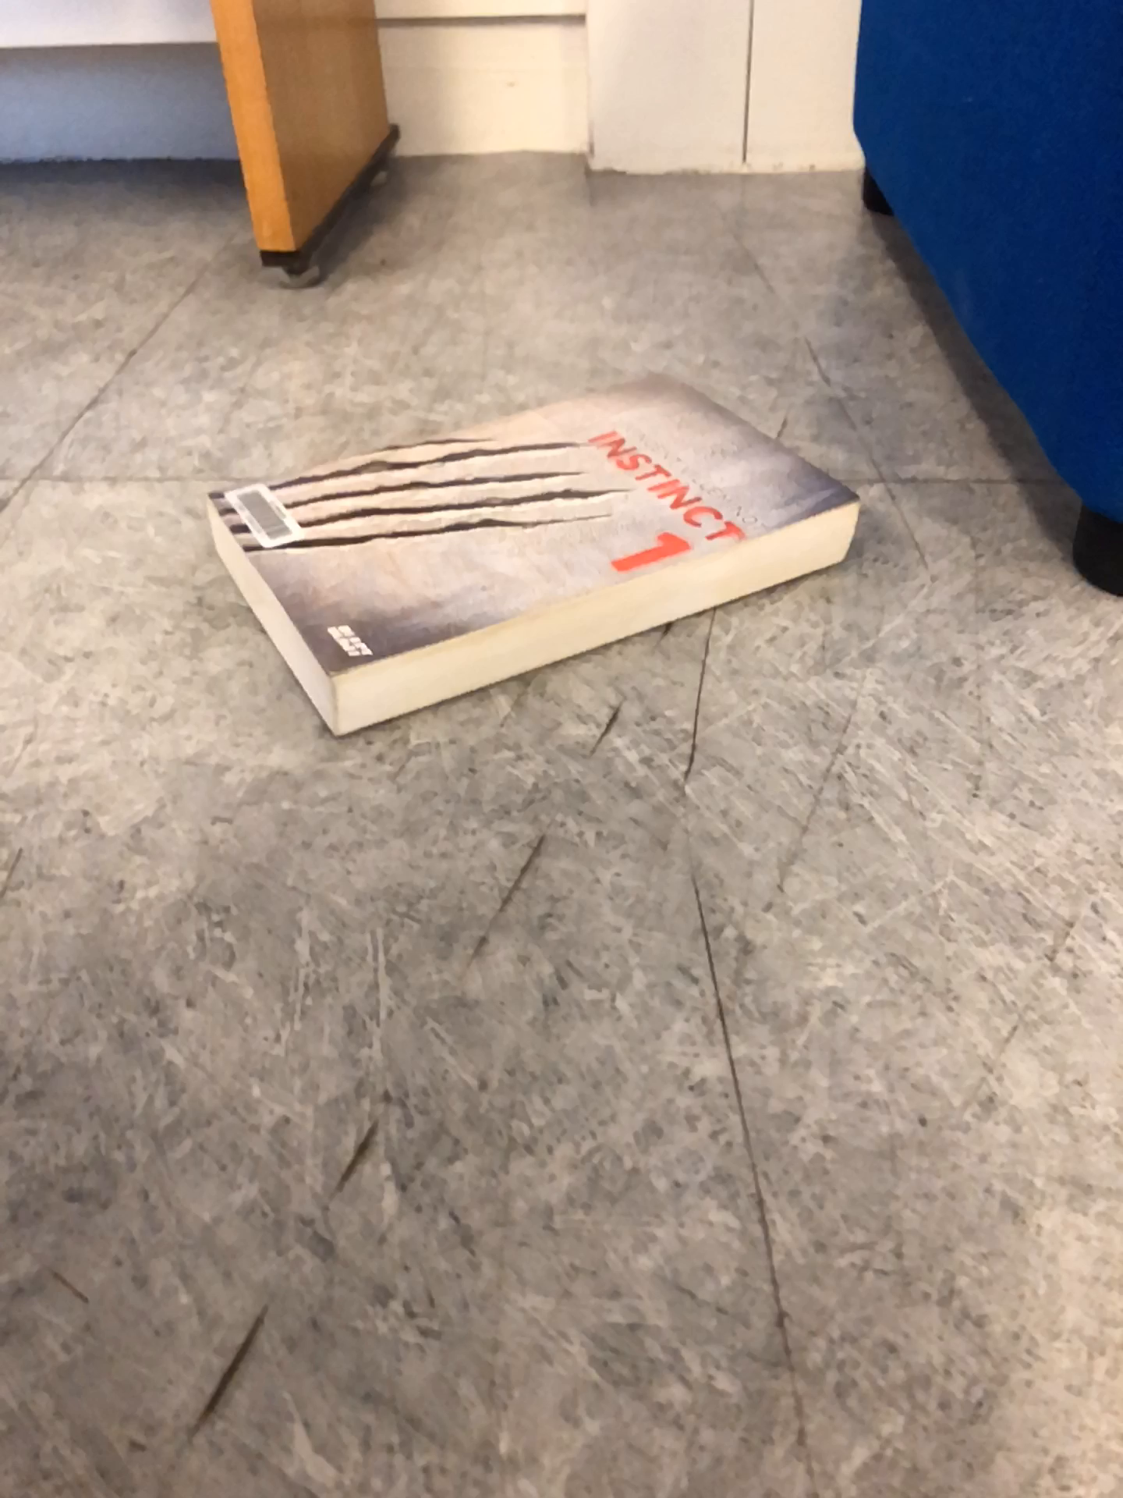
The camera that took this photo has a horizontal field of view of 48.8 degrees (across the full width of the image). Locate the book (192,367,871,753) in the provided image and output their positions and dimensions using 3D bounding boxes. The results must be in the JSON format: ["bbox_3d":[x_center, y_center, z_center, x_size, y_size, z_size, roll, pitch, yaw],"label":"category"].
[{"bbox_3d":[-0.014,-0.083,0.468,0.211,0.028,0.142,-21,43,-21],"label":"book"}]
